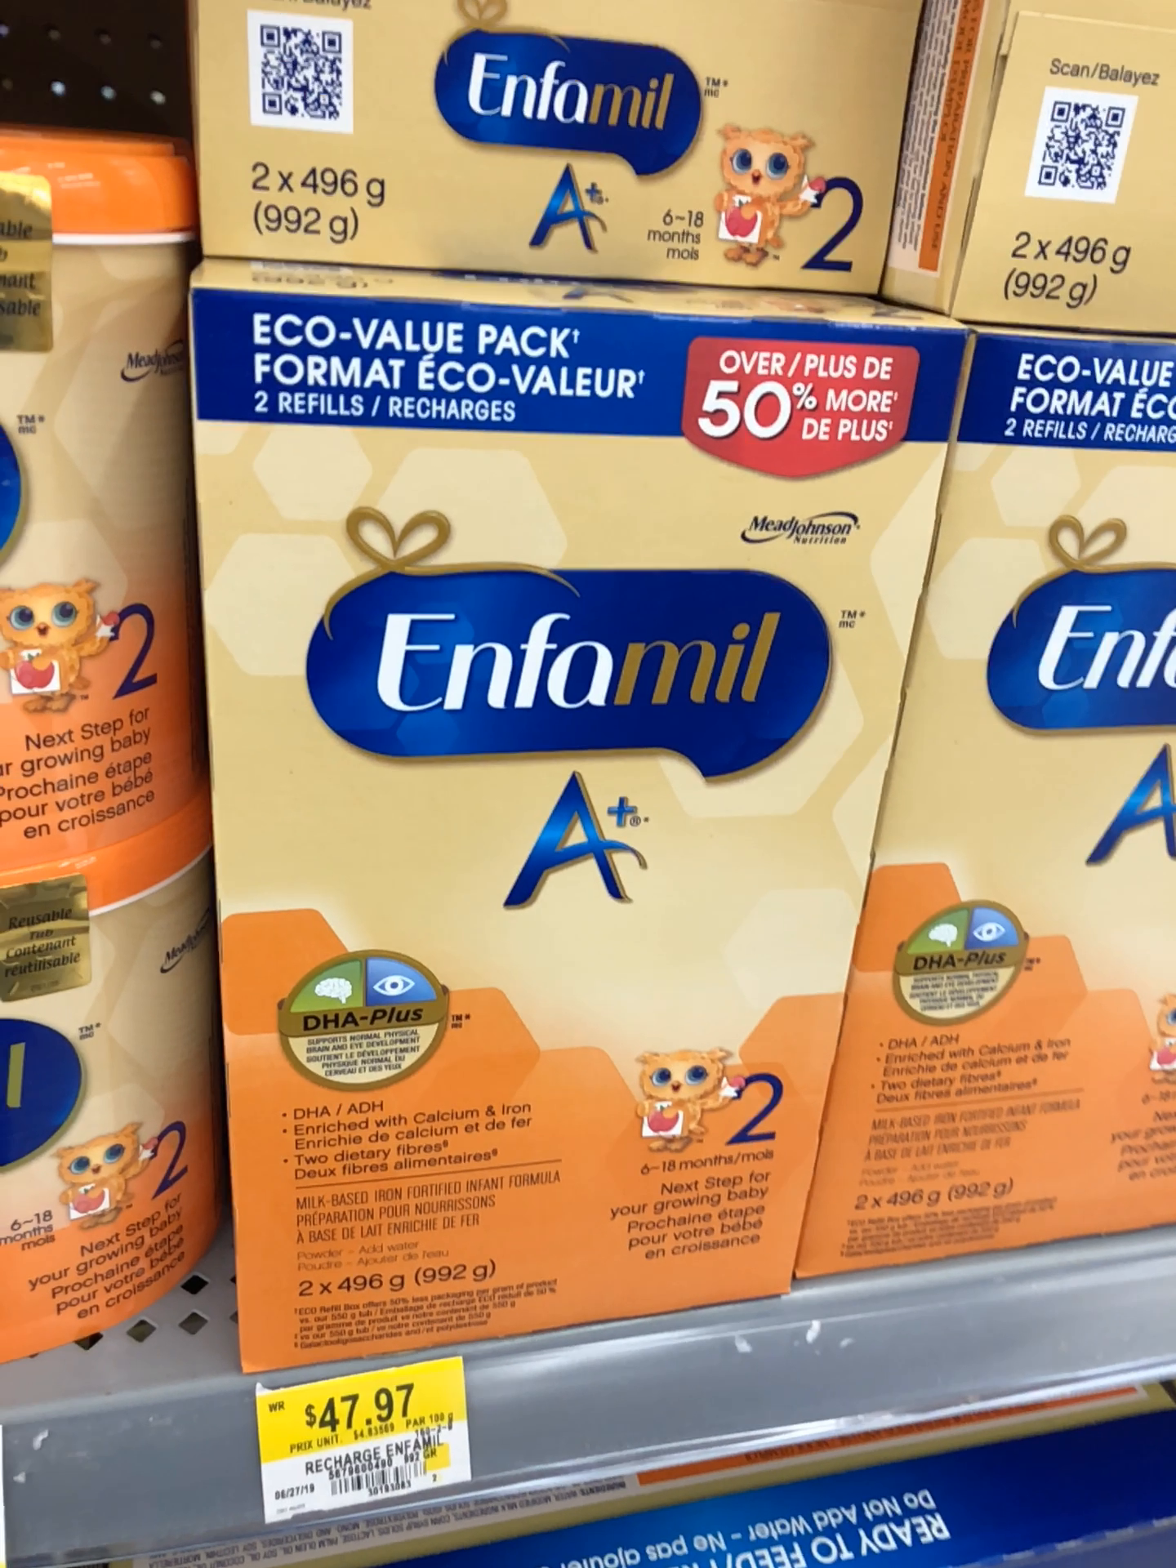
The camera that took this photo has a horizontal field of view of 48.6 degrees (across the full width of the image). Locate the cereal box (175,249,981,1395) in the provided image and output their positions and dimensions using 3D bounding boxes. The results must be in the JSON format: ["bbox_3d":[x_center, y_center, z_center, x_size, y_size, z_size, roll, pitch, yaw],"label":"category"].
[{"bbox_3d":[-0.017,0.013,0.303,0.140,0.238,0.081,-2,26,-16],"label":"cereal box"}]
